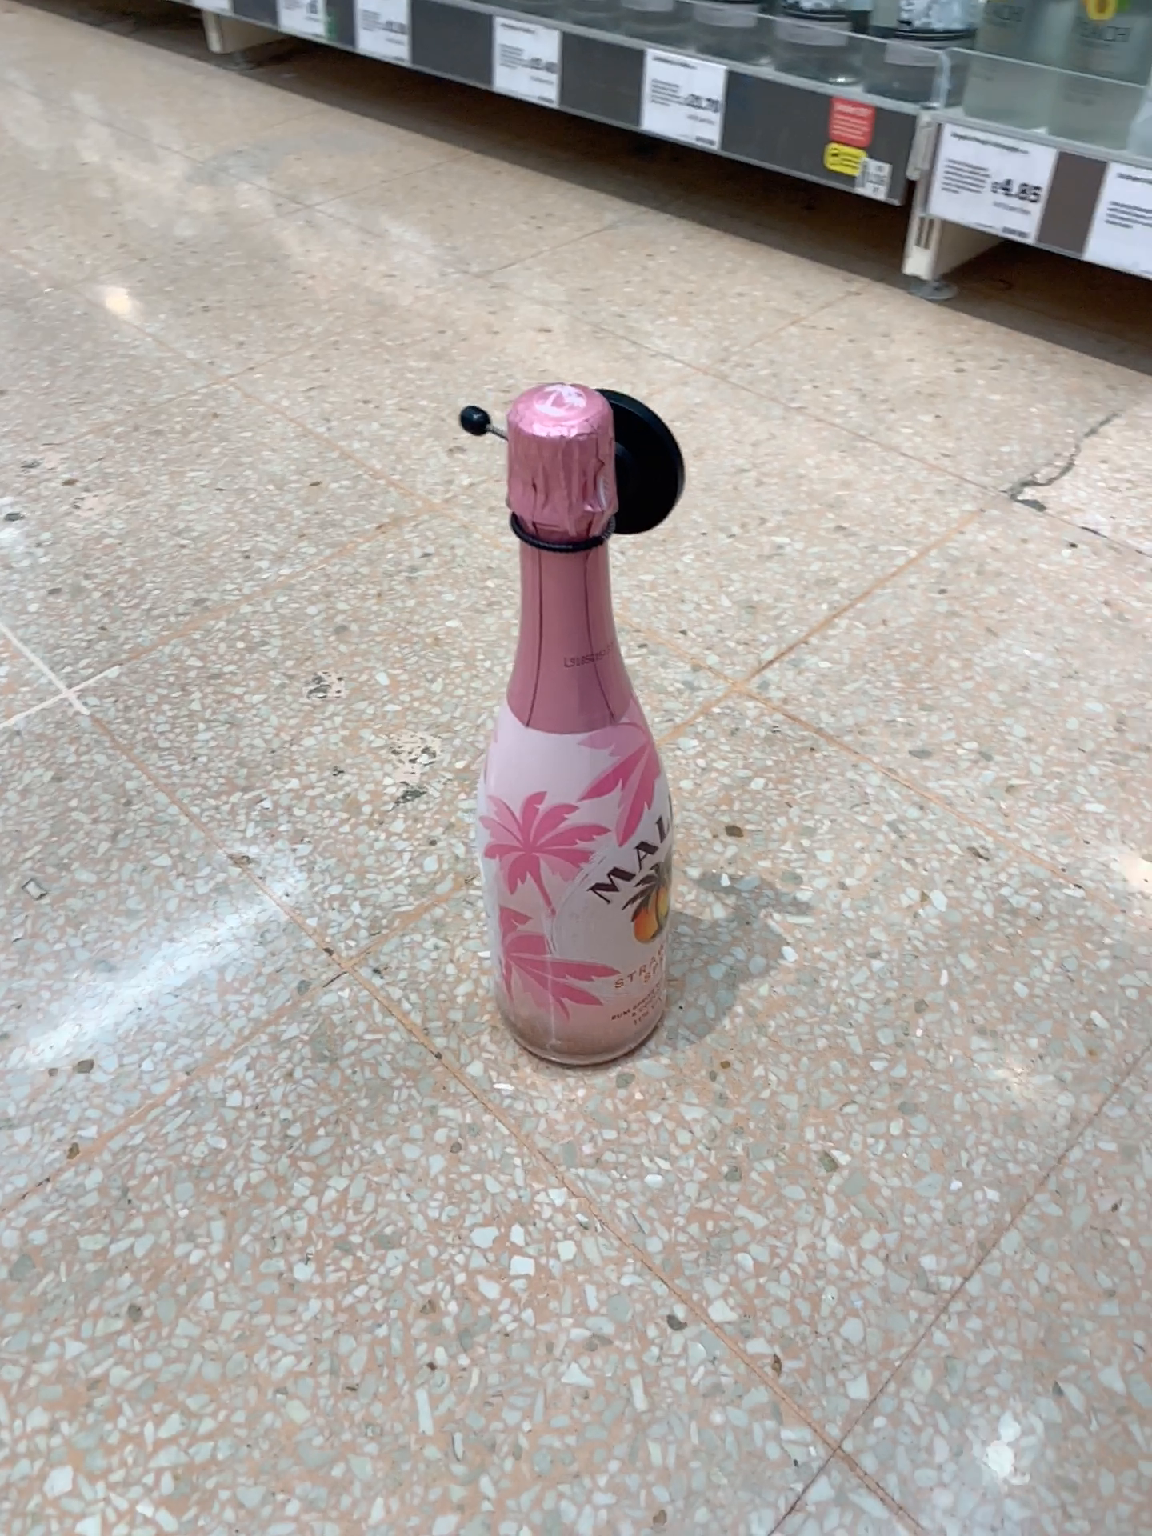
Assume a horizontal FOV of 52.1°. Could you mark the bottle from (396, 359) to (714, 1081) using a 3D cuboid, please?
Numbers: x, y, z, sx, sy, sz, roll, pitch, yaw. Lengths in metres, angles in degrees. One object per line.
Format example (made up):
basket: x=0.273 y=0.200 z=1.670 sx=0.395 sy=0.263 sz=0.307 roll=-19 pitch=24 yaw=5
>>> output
bottle: x=0.001 y=0.001 z=0.450 sx=0.080 sy=0.286 sz=0.081 roll=-1 pitch=44 yaw=1
